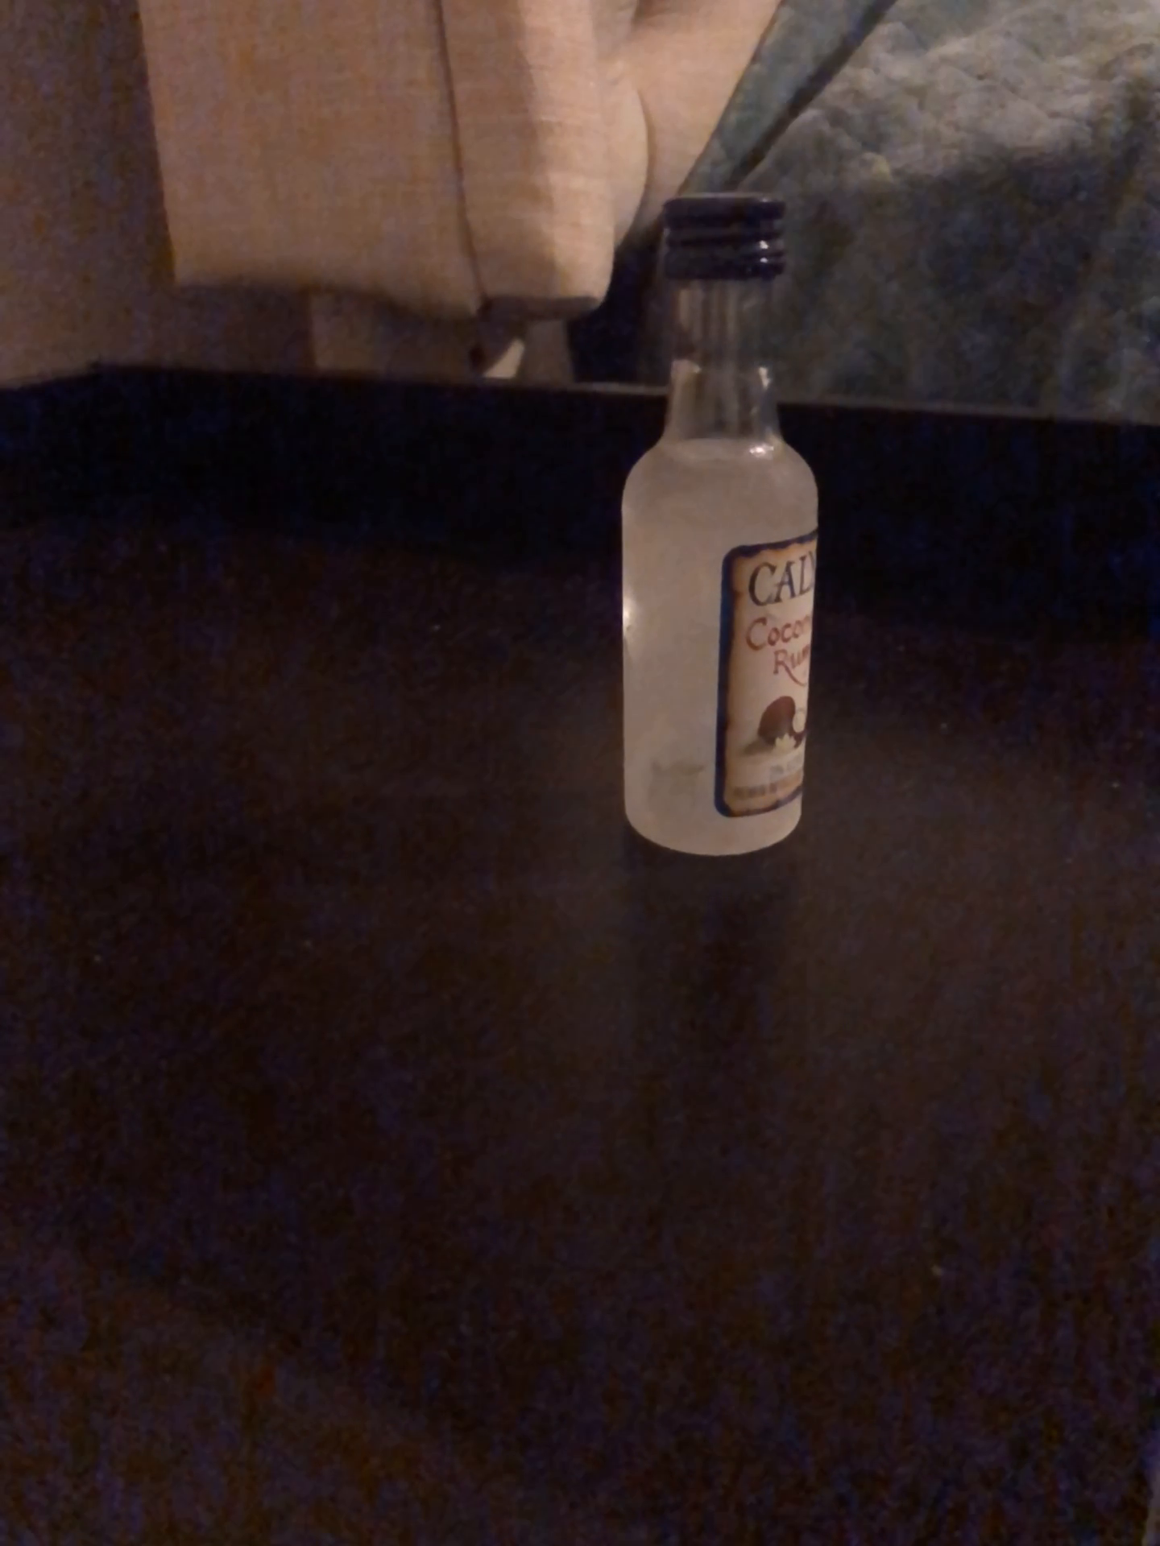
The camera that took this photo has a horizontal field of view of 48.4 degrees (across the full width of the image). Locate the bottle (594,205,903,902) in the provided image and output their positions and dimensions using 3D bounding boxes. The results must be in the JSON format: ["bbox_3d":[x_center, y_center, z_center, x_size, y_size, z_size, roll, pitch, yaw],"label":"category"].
[{"bbox_3d":[0.027,-0.037,0.213,0.036,0.104,0.040,9,25,22],"label":"bottle"}]
